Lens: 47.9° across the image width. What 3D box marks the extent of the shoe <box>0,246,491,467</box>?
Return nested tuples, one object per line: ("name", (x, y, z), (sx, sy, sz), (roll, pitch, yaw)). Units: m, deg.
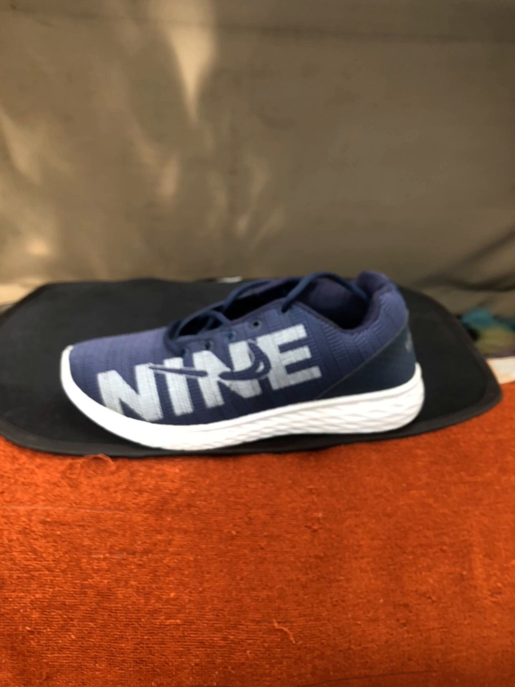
("shoe", (-0.008, 0.002, 0.422), (0.290, 0.099, 0.131), (-2, 28, -2))
